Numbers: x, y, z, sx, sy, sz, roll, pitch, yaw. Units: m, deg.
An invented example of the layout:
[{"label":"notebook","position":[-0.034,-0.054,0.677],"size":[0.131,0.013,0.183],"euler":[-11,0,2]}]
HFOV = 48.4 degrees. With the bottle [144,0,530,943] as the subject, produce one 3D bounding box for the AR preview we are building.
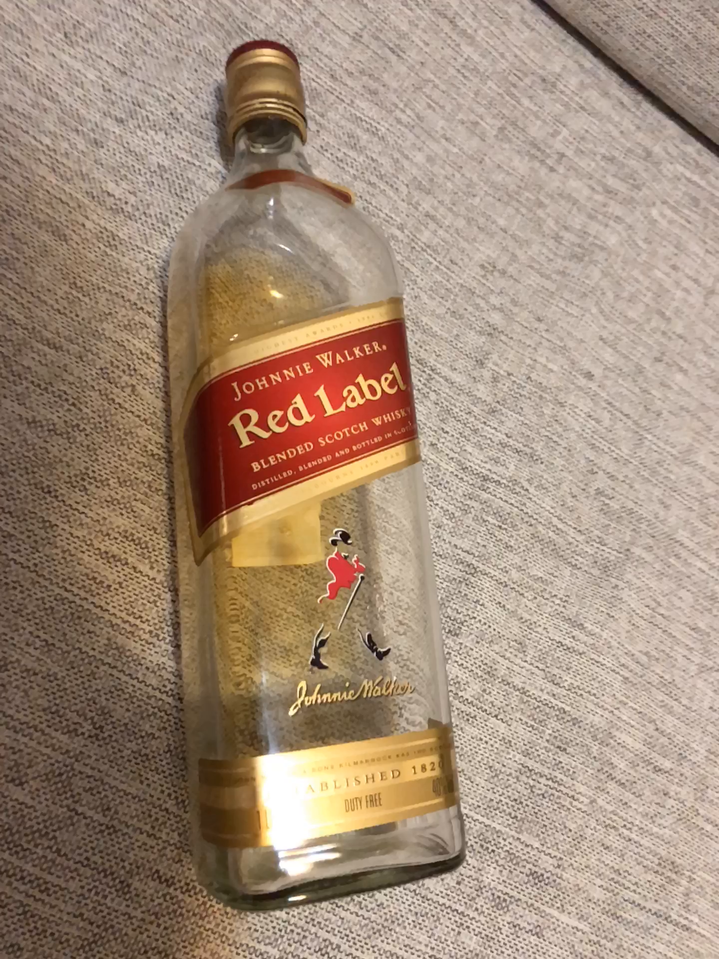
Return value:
[{"label":"bottle","position":[-0.018,-0.031,0.275],"size":[0.090,0.070,0.310],"euler":[0,78,-24]}]
